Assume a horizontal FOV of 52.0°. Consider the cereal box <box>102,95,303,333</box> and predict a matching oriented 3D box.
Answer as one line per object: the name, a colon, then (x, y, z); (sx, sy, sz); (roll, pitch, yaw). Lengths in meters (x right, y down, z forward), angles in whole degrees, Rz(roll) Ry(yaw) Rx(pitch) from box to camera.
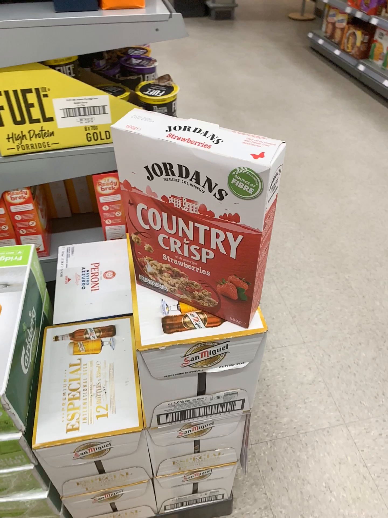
cereal box: (0.005, -0.043, 0.477); (0.190, 0.248, 0.060); (20, 48, 19)
